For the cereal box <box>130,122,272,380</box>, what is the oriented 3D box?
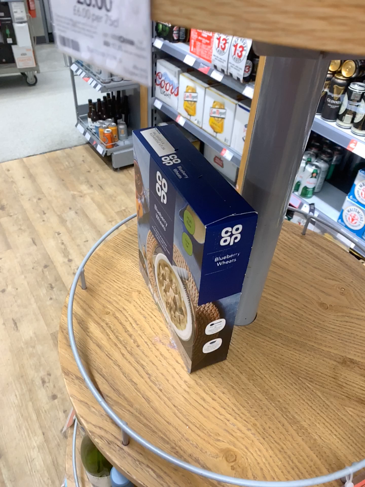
[{"bbox_3d":[0.001,0.008,0.450,0.060,0.228,0.202,-14,44,-20],"label":"cereal box"}]
